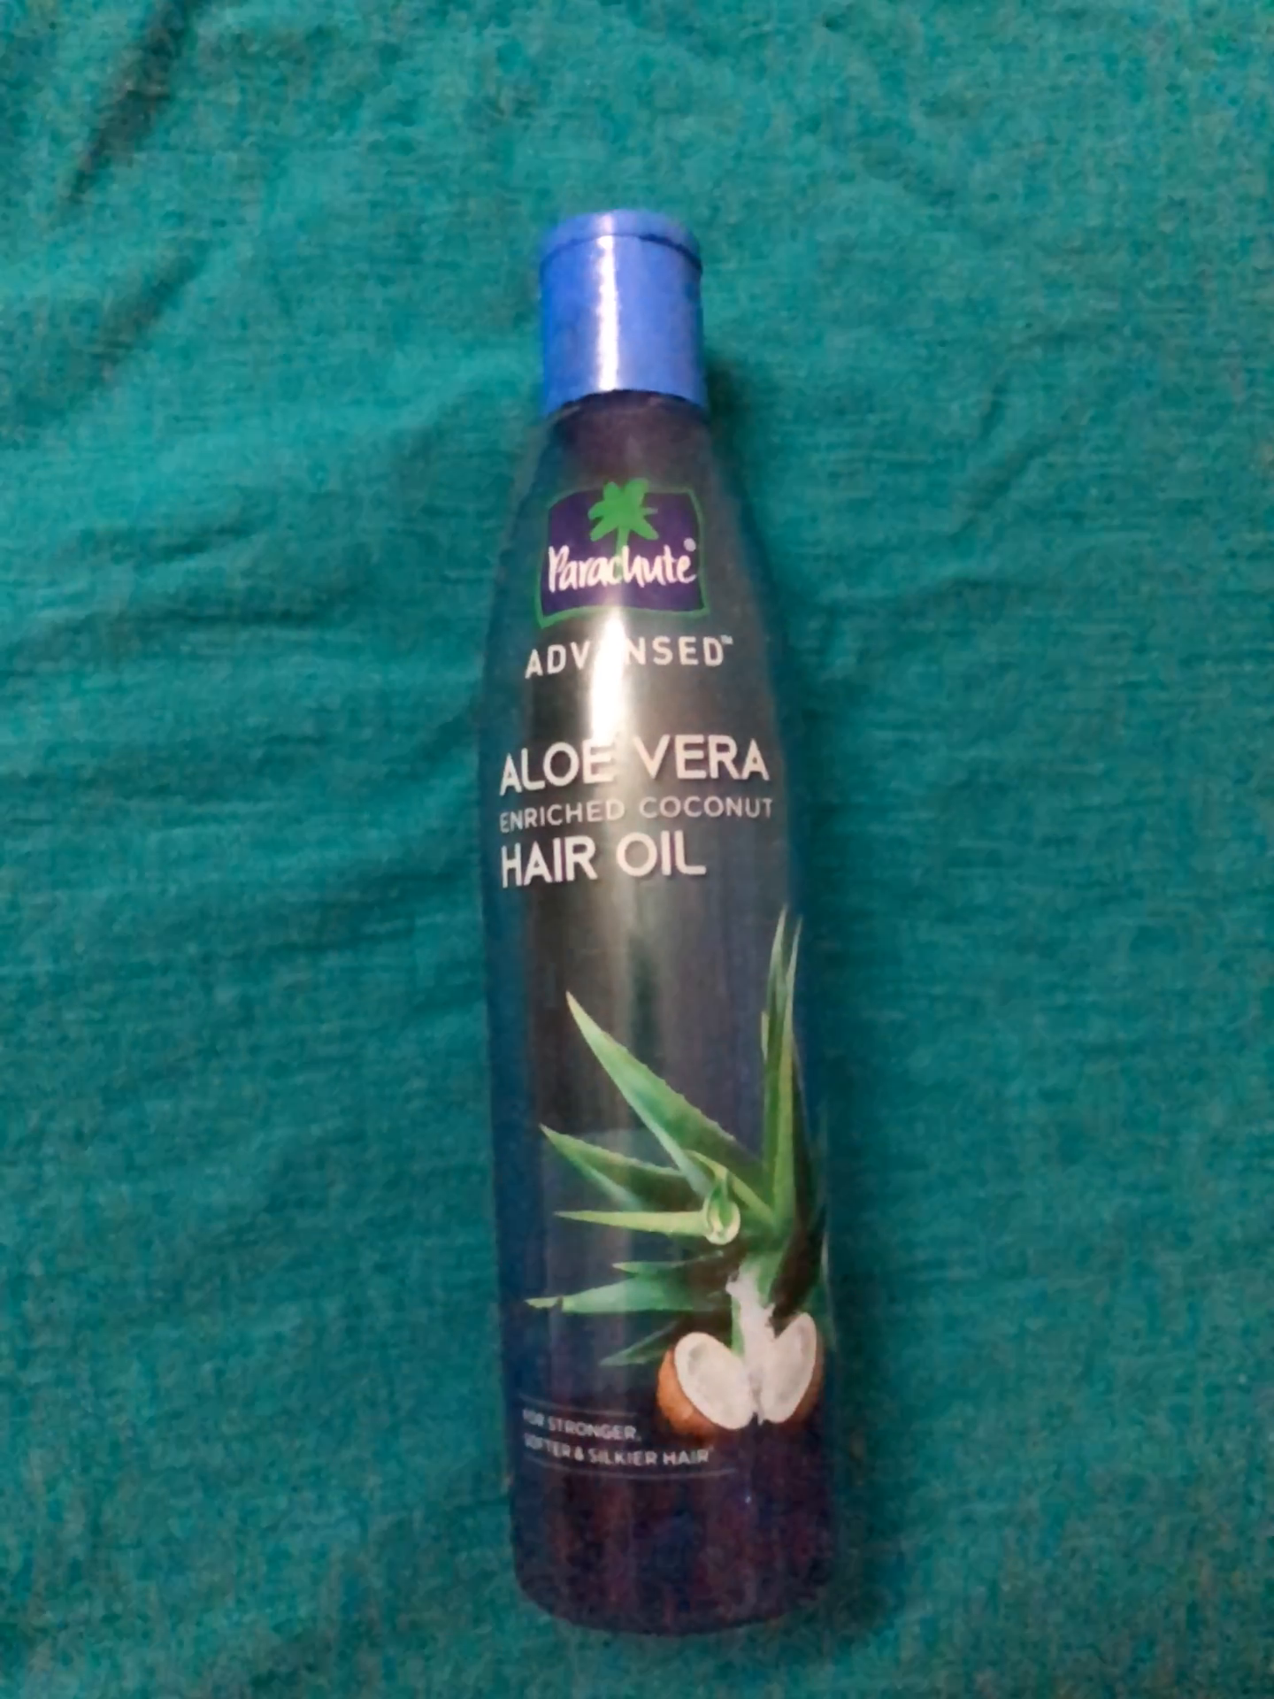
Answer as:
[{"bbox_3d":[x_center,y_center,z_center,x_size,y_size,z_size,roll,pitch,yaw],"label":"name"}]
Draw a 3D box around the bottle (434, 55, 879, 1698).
[{"bbox_3d":[0.001,-0.001,0.201,0.050,0.040,0.210,-2,83,2],"label":"bottle"}]
